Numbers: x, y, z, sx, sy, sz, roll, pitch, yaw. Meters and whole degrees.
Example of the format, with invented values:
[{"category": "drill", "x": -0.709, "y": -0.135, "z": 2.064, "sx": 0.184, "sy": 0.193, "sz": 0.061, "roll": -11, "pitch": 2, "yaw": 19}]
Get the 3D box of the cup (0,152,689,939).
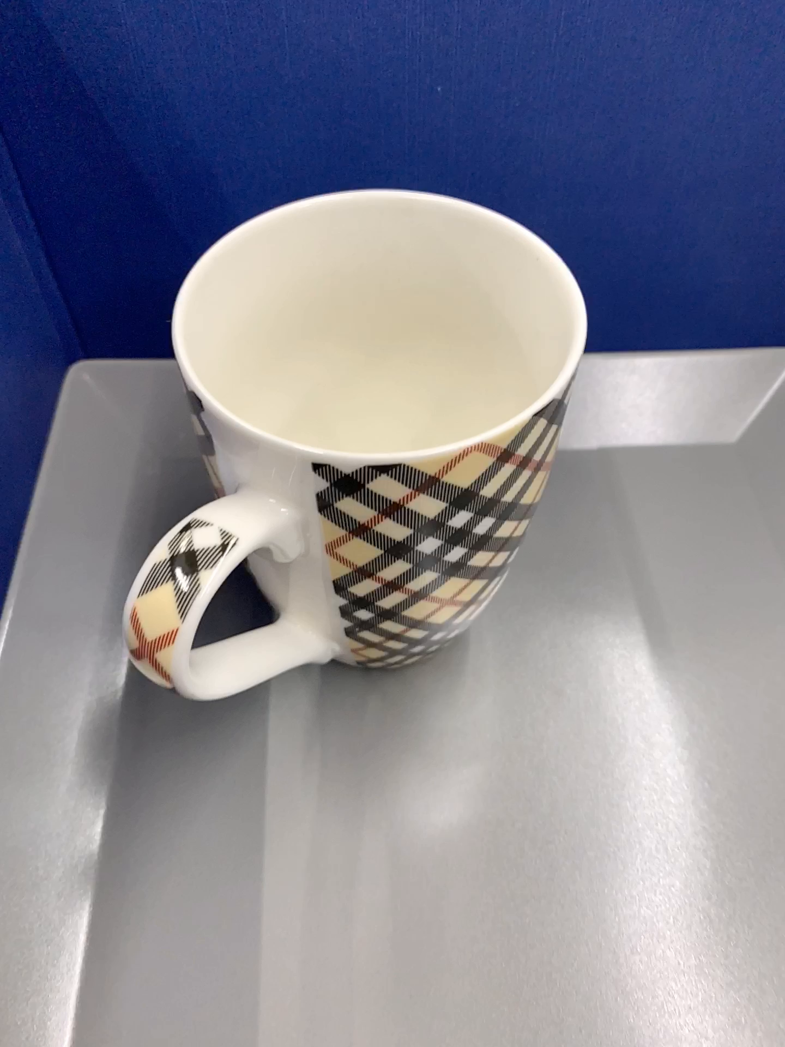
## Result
[{"category": "cup", "x": -0.011, "y": 0.001, "z": 0.192, "sx": 0.091, "sy": 0.104, "sz": 0.121, "roll": 28, "pitch": 56, "yaw": 22}]
